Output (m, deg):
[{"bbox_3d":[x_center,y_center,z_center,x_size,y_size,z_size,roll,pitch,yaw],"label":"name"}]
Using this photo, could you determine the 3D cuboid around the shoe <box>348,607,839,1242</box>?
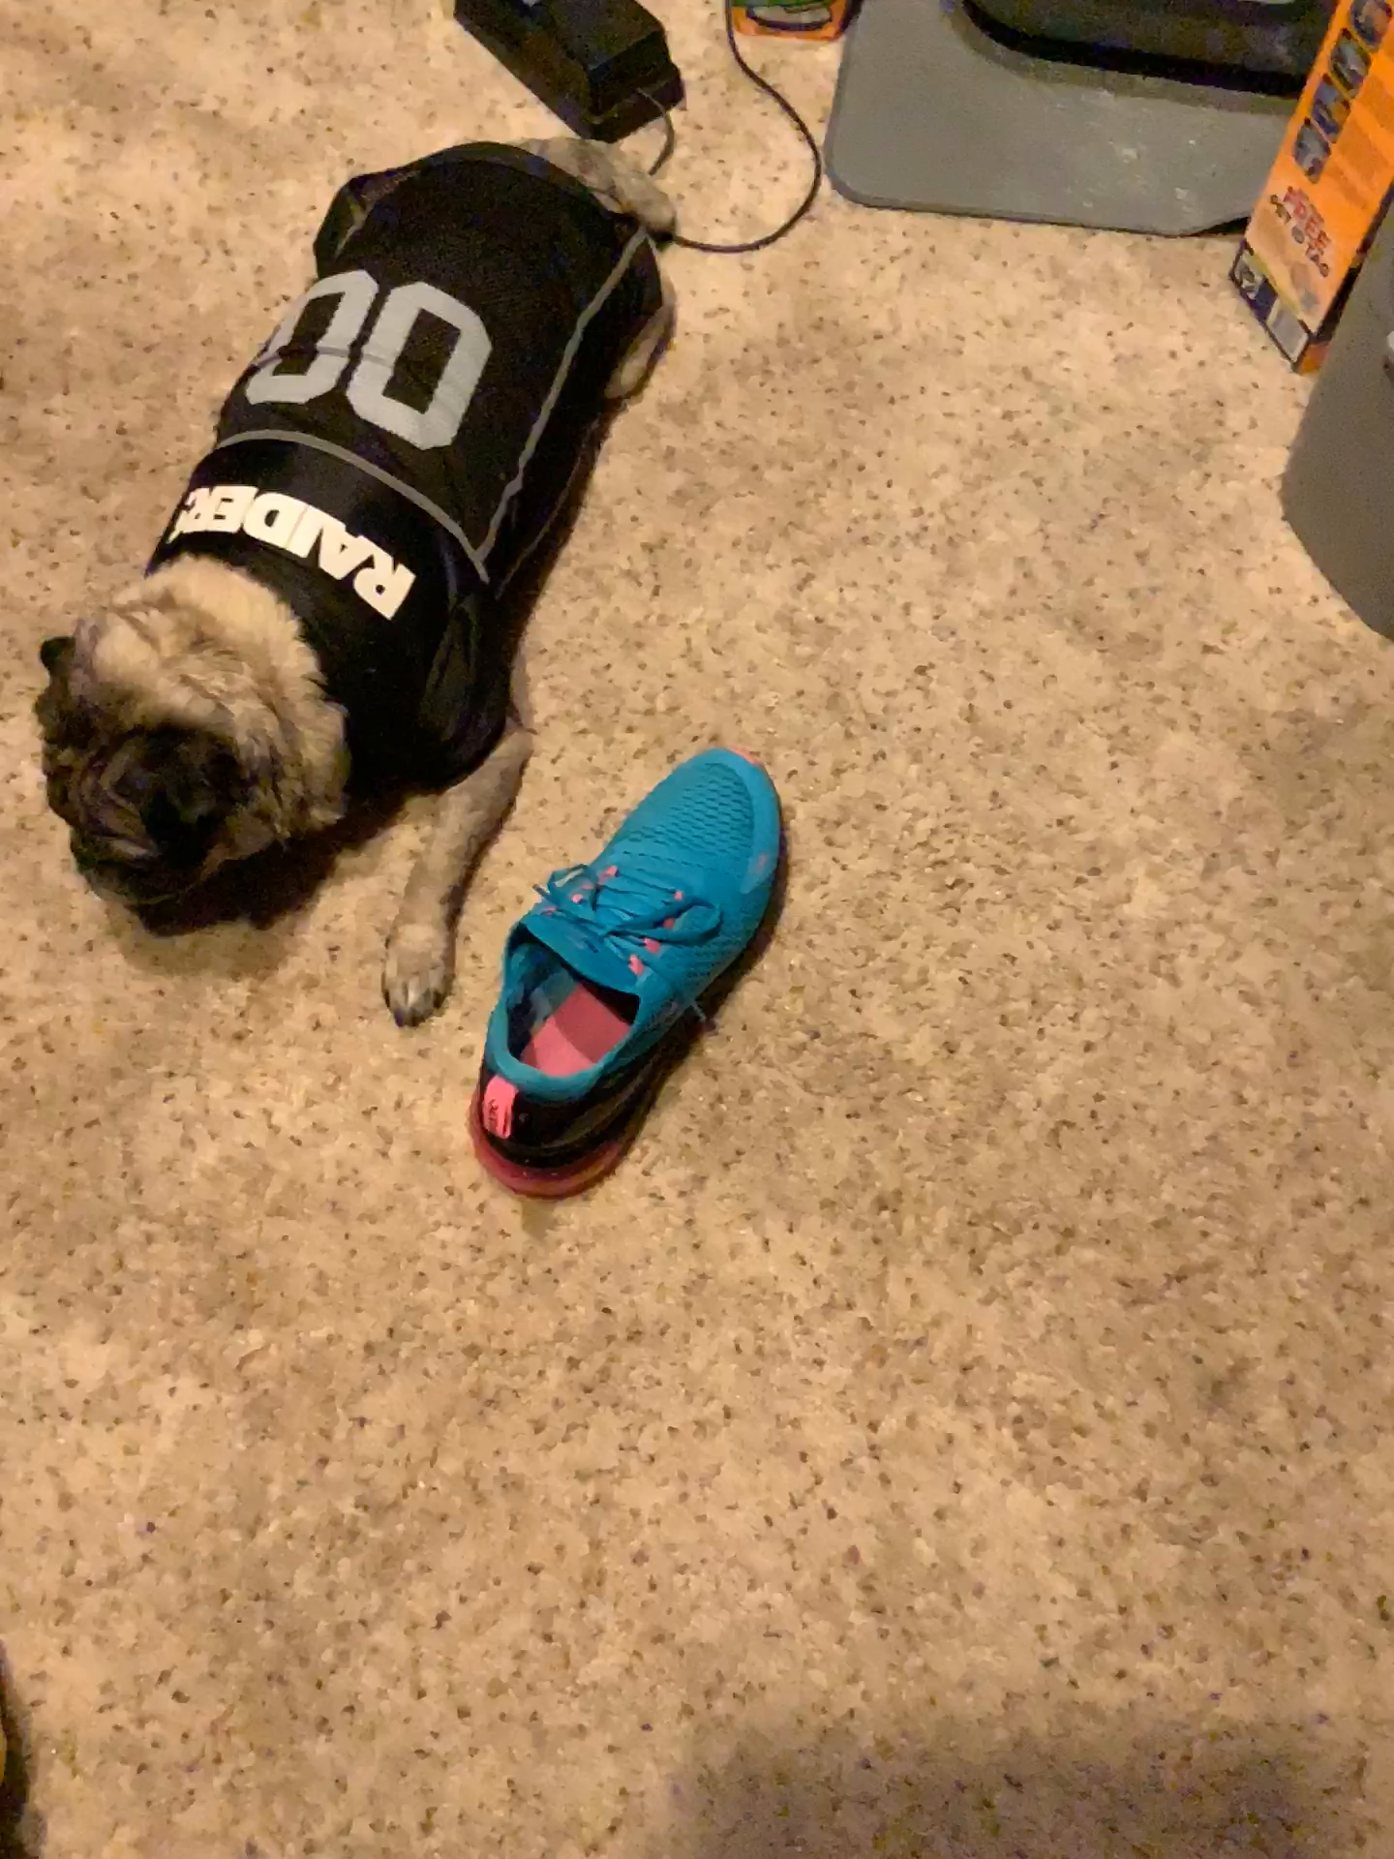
[{"bbox_3d":[-0.050,-0.002,0.947,0.130,0.140,0.340,26,73,12],"label":"shoe"}]
